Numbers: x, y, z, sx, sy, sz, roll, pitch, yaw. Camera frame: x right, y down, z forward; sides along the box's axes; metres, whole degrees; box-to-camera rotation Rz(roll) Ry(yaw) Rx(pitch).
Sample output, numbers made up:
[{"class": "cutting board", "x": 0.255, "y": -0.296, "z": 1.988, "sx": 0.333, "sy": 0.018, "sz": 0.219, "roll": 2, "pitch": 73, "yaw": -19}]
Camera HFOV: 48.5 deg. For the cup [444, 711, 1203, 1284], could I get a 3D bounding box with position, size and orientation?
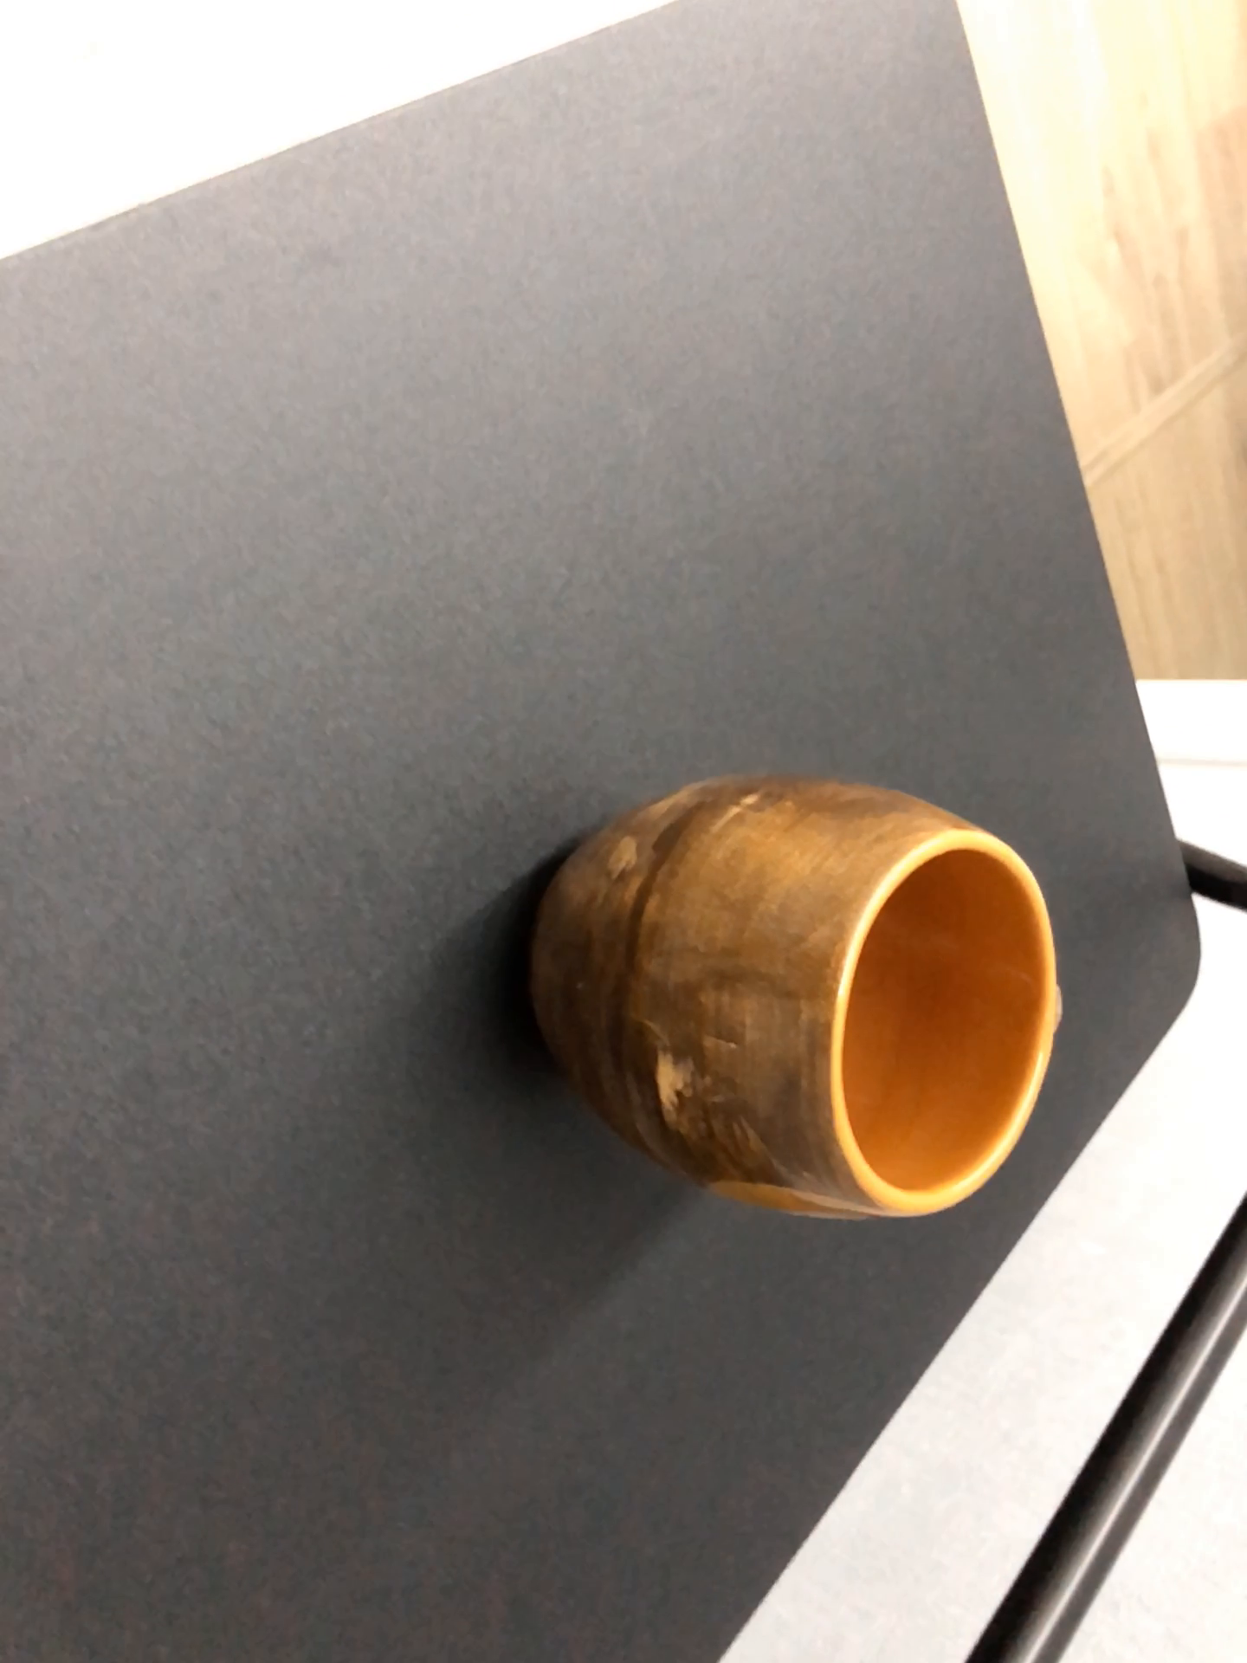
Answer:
[{"class": "cup", "x": 0.050, "y": 0.038, "z": 0.315, "sx": 0.132, "sy": 0.092, "sz": 0.092, "roll": 21, "pitch": 81, "yaw": -41}]
